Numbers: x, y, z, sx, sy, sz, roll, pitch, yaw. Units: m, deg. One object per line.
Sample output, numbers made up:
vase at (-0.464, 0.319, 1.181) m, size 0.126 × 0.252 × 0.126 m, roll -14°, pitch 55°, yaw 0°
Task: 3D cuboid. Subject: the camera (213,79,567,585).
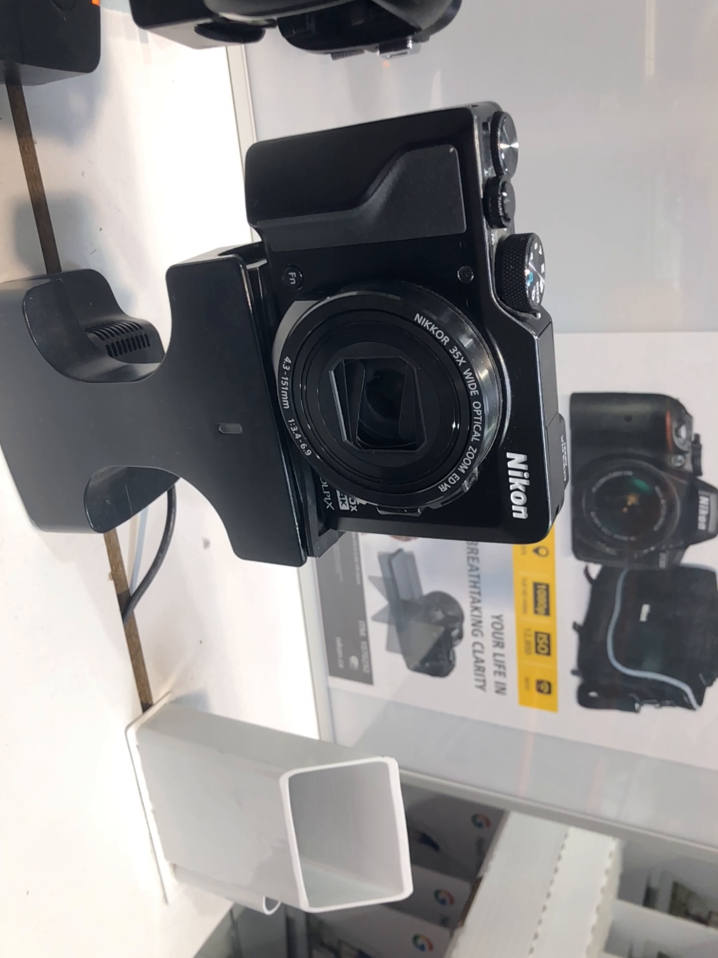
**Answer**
camera at (0.015, -0.035, 0.213) m, size 0.044 × 0.069 × 0.117 m, roll -56°, pitch 143°, yaw -54°
